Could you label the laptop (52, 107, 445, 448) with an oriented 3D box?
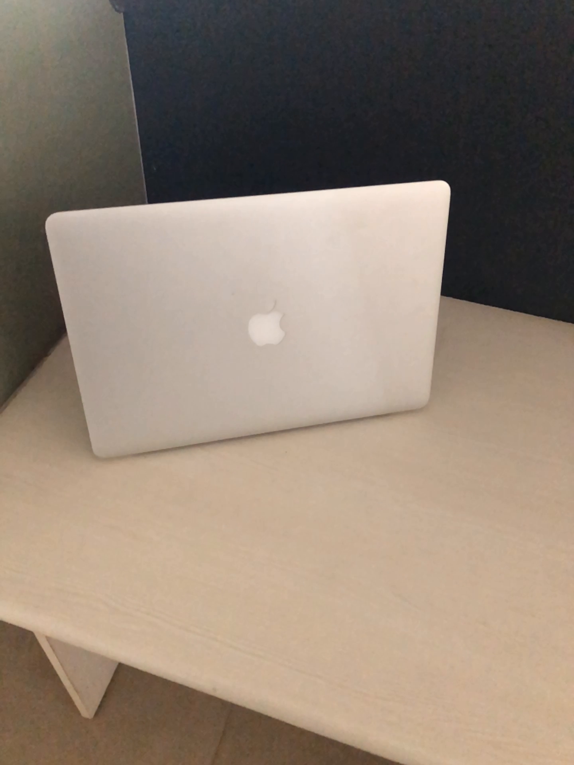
[{"bbox_3d":[-0.053,-0.121,0.675,0.321,0.232,0.245,-8,46,-11],"label":"laptop"}]
